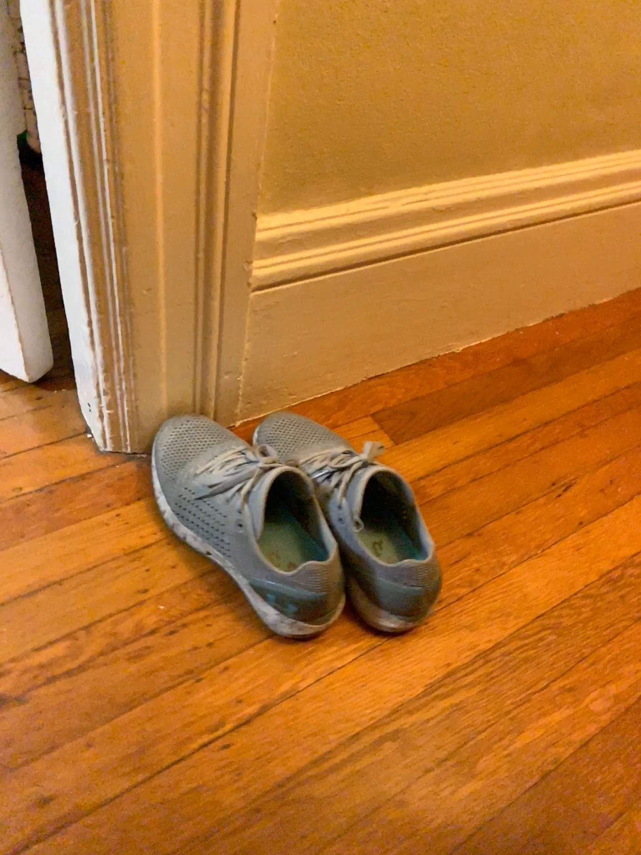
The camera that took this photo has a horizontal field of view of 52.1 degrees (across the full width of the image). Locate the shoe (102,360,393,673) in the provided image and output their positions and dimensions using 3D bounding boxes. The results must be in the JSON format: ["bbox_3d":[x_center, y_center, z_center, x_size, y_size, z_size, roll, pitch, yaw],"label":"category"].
[{"bbox_3d":[-0.074,0.065,0.579,0.110,0.080,0.261,-28,59,-32],"label":"shoe"}]

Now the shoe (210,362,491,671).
[{"bbox_3d":[0.013,0.070,0.620,0.110,0.090,0.271,-23,56,-30],"label":"shoe"}]
